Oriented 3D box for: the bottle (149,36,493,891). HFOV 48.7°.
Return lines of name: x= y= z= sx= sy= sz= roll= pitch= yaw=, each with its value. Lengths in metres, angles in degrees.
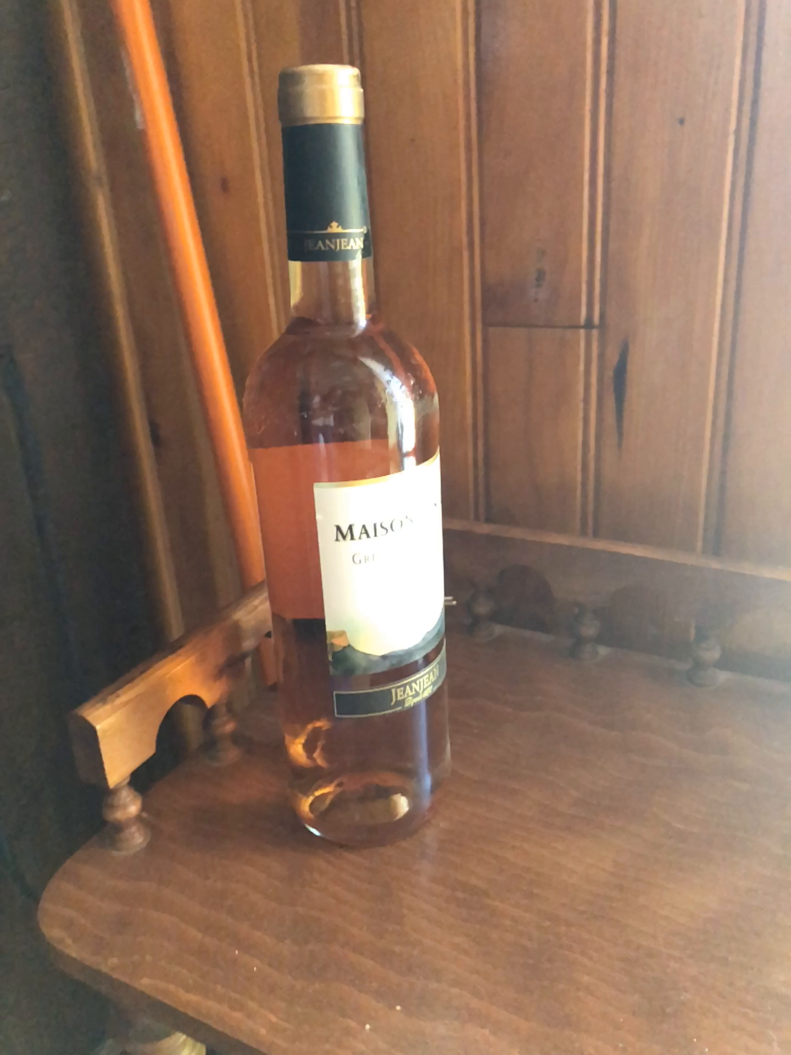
bottle: x=-0.017 y=-0.015 z=0.330 sx=0.070 sy=0.289 sz=0.080 roll=18 pitch=31 yaw=42
